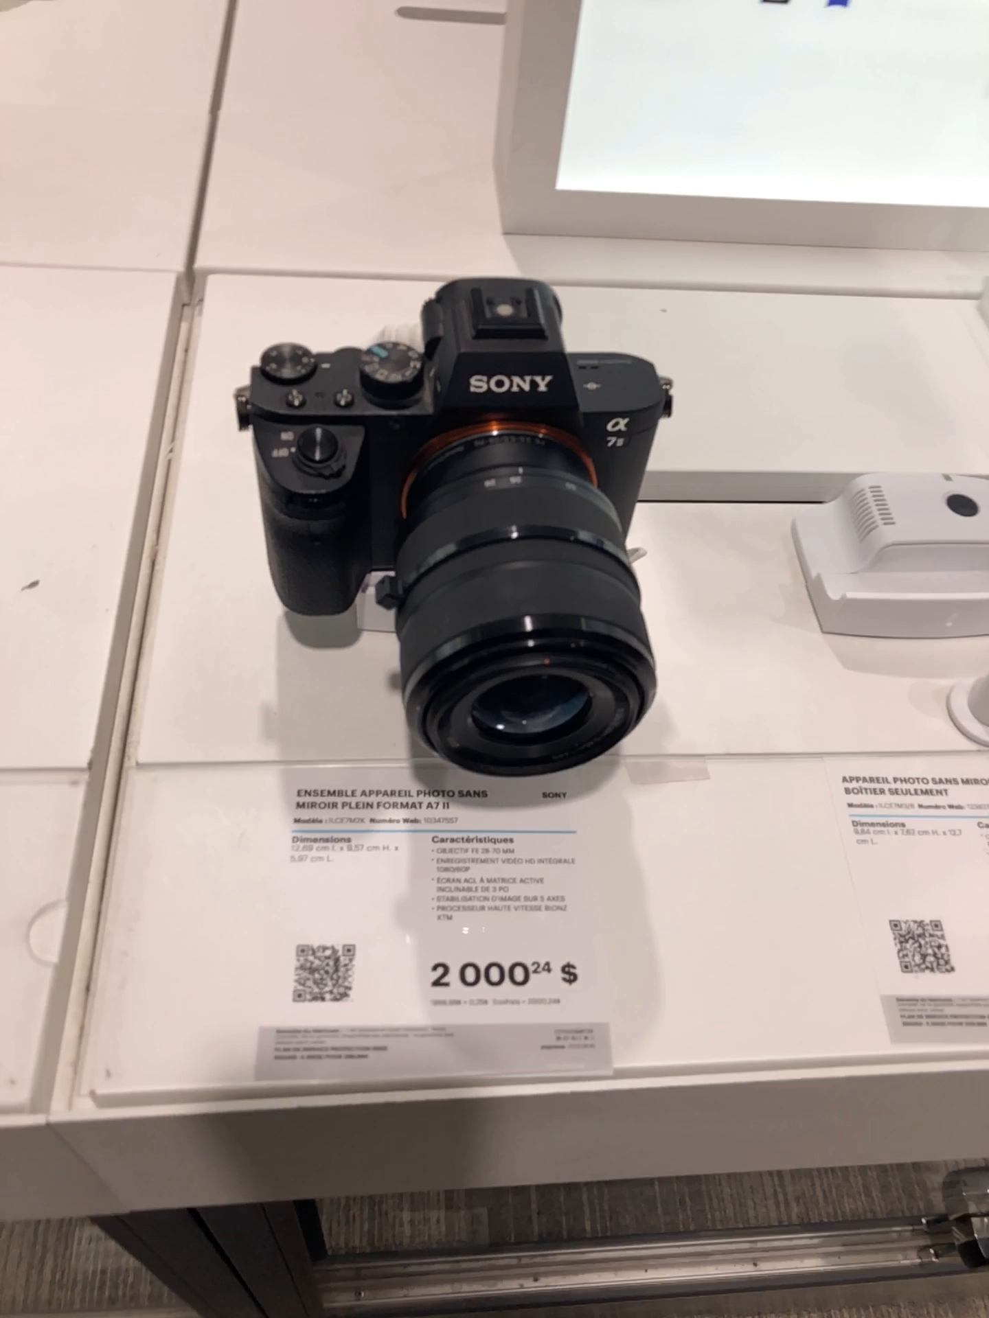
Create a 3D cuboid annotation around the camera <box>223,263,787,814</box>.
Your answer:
[{"bbox_3d":[-0.007,-0.039,0.333,0.134,0.099,0.131,-3,53,-8],"label":"camera"}]
